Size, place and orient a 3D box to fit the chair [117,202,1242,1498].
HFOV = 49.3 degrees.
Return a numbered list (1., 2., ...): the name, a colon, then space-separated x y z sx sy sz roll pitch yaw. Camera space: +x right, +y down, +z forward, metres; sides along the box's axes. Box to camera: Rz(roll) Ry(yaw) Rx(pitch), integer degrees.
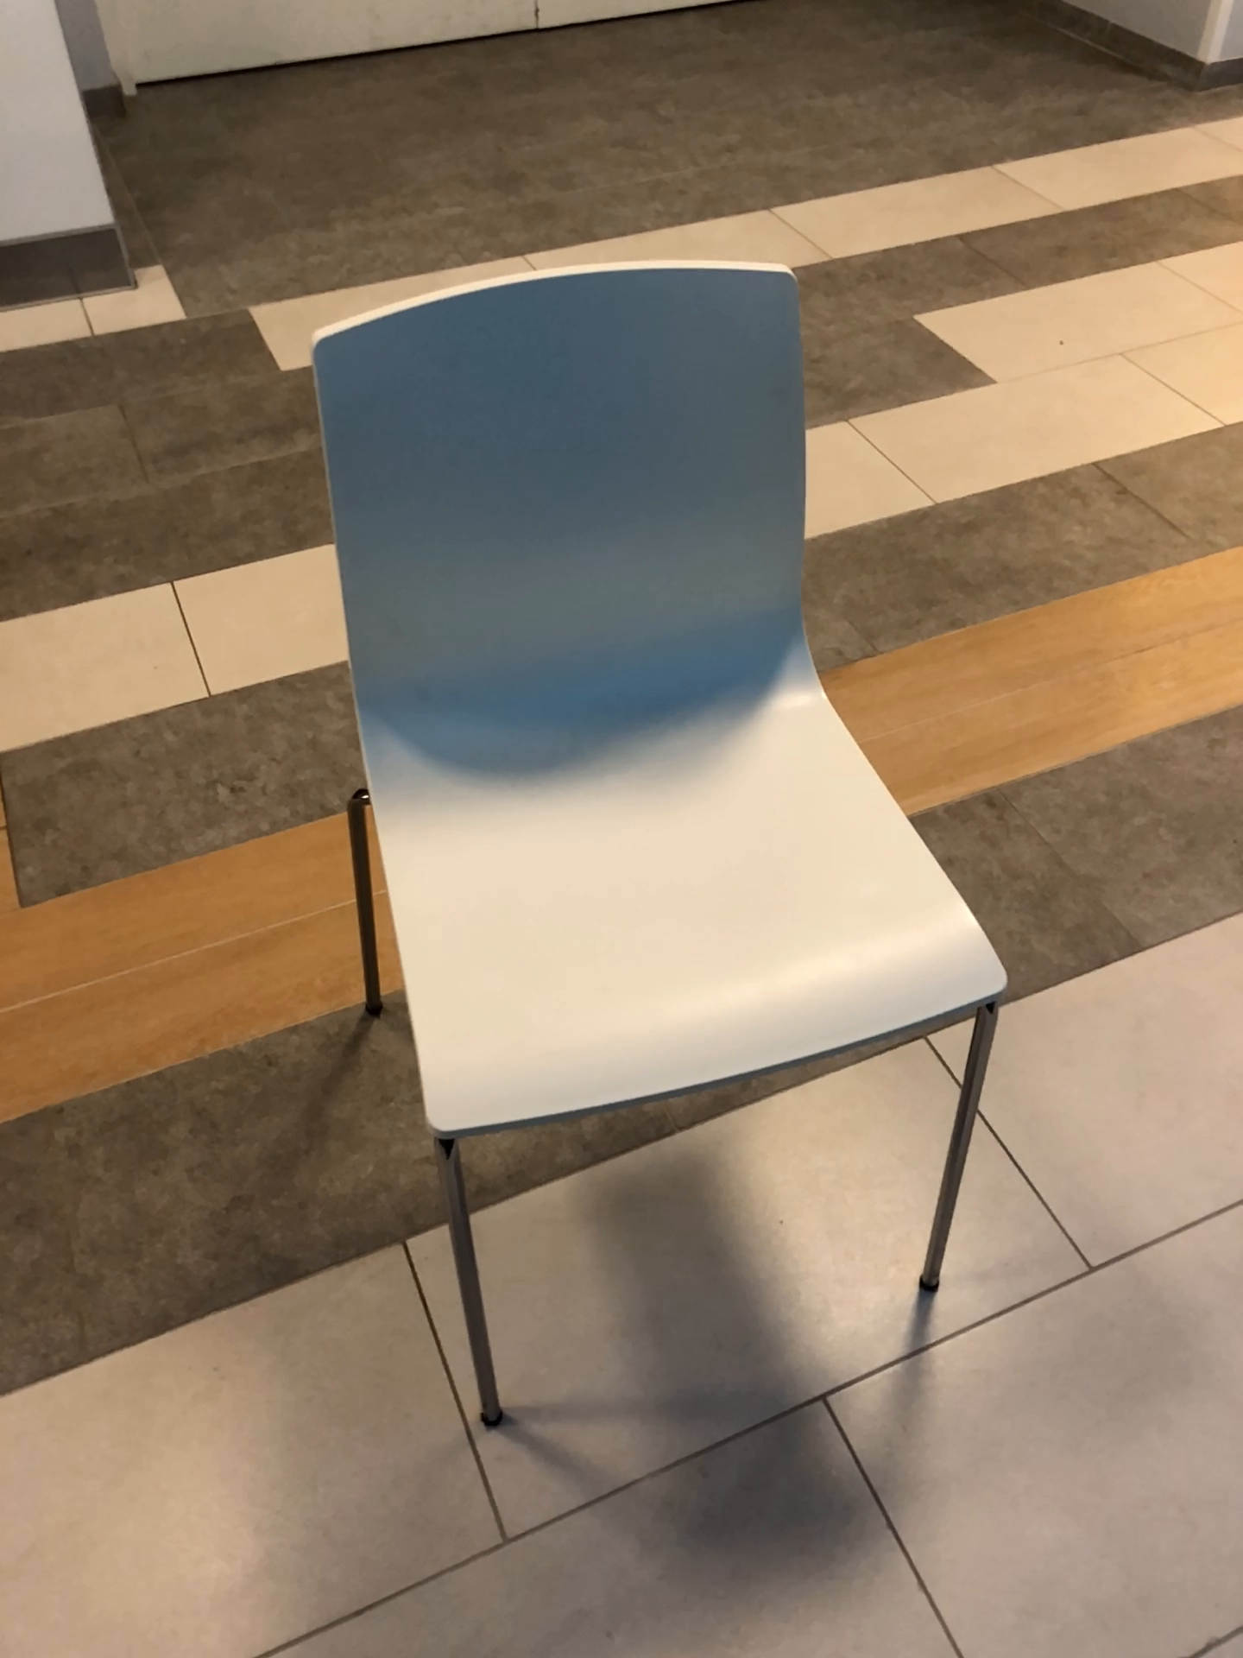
1. chair: 0.015 0.029 1.103 0.580 0.776 0.553 -14 47 -13
